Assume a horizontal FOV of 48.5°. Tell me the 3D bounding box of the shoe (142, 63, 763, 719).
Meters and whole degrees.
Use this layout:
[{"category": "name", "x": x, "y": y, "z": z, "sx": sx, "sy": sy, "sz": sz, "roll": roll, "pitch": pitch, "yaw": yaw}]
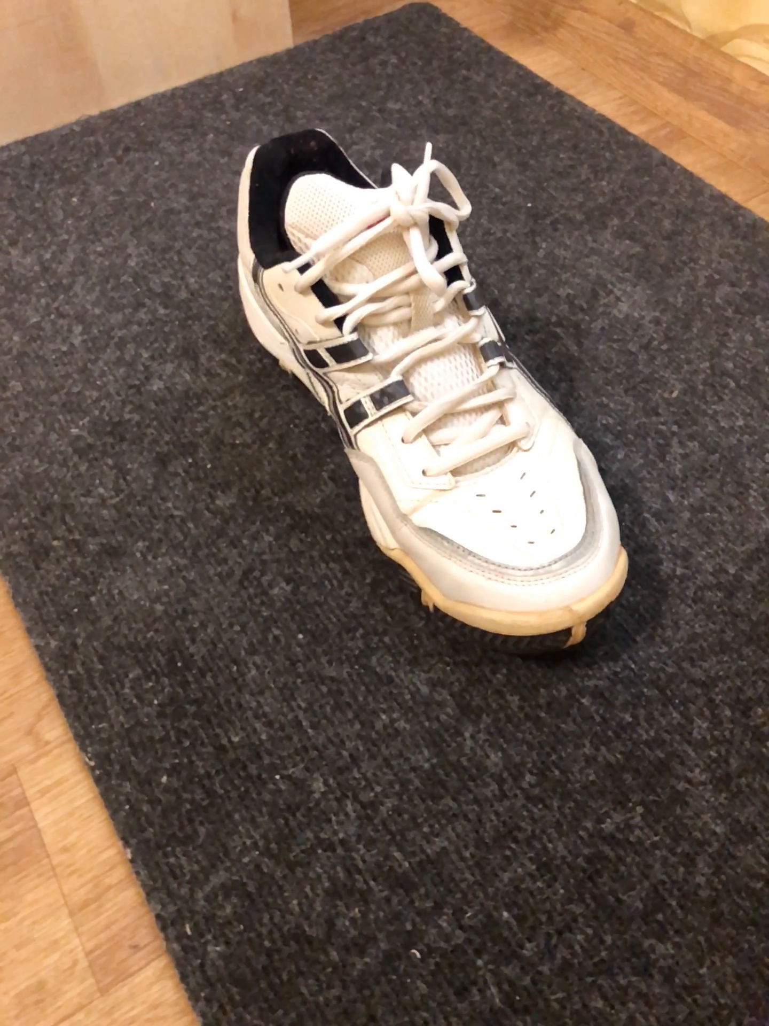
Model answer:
[{"category": "shoe", "x": 0.005, "y": -0.071, "z": 0.361, "sx": 0.100, "sy": 0.100, "sz": 0.281, "roll": -25, "pitch": 55, "yaw": -15}]
